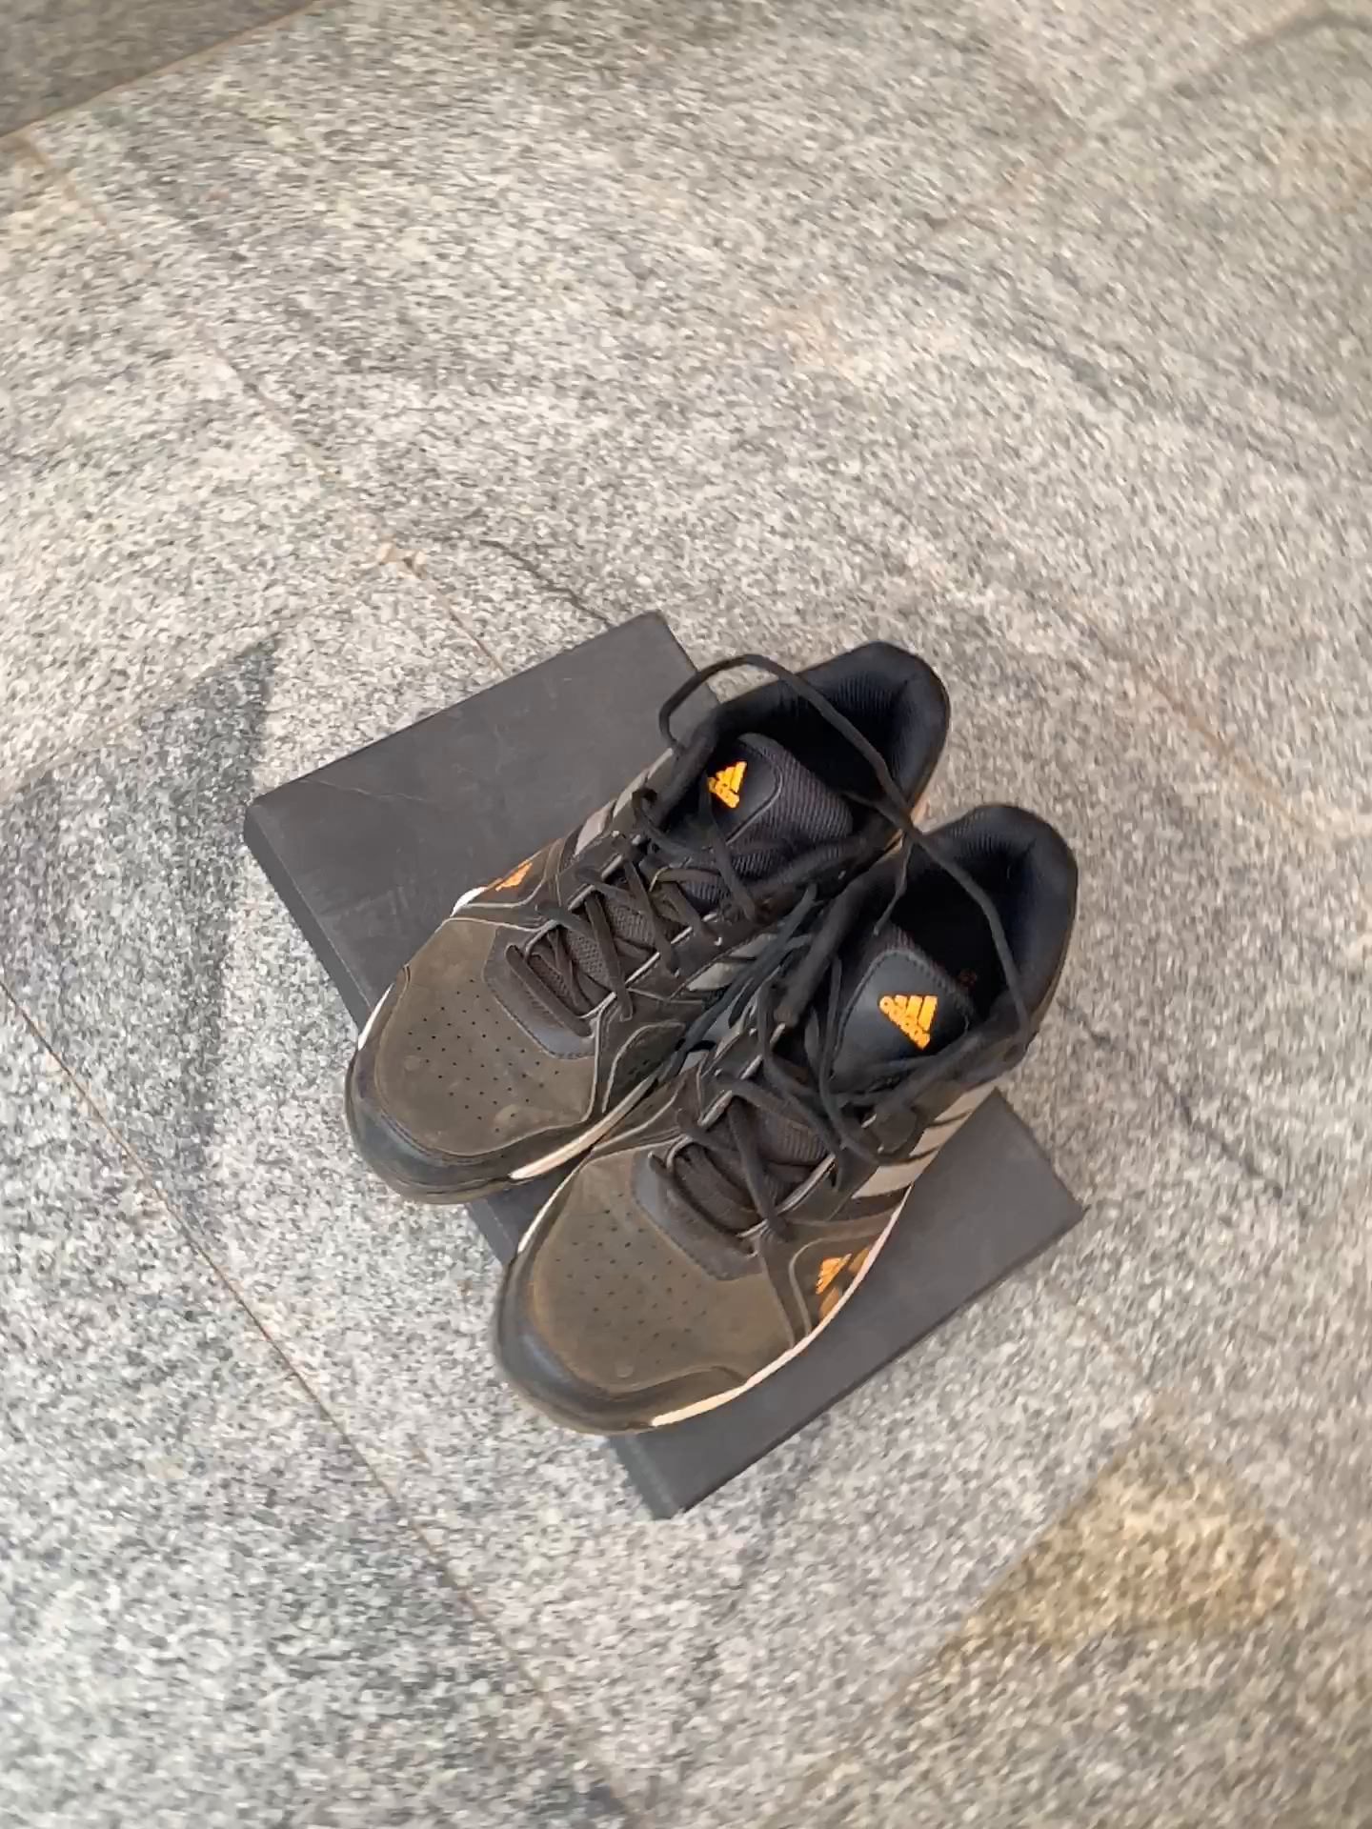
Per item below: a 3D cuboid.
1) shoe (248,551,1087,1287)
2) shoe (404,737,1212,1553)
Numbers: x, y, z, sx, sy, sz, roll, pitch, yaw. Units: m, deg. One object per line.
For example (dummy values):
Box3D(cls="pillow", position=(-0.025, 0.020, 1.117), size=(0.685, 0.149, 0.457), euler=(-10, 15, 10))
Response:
Box3D(cls="shoe", position=(-0.002, -0.003, 0.529), size=(0.291, 0.090, 0.110), euler=(-37, 79, -20))
Box3D(cls="shoe", position=(0.051, 0.079, 0.530), size=(0.110, 0.090, 0.301), euler=(42, 69, 16))
